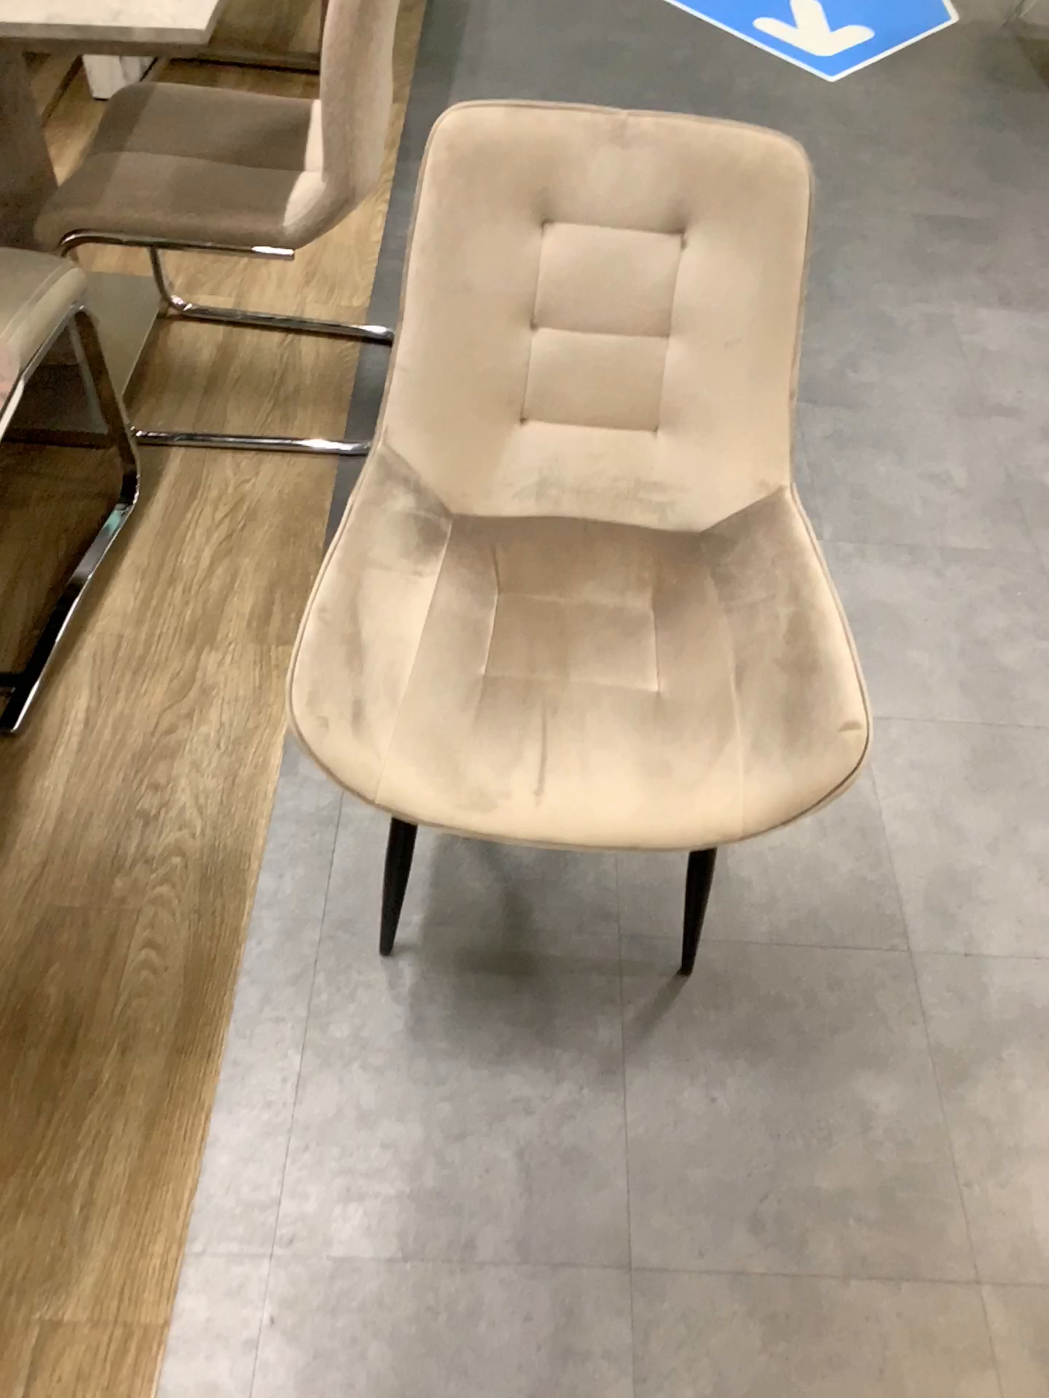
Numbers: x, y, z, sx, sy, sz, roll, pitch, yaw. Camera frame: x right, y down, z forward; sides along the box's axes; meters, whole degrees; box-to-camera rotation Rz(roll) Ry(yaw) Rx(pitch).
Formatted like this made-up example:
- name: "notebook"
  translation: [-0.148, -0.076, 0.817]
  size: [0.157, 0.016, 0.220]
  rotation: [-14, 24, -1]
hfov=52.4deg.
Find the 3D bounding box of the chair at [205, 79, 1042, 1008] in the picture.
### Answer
- name: "chair"
  translation: [0.060, -0.119, 1.229]
  size: [0.566, 0.818, 0.613]
  rotation: [5, 52, -1]
